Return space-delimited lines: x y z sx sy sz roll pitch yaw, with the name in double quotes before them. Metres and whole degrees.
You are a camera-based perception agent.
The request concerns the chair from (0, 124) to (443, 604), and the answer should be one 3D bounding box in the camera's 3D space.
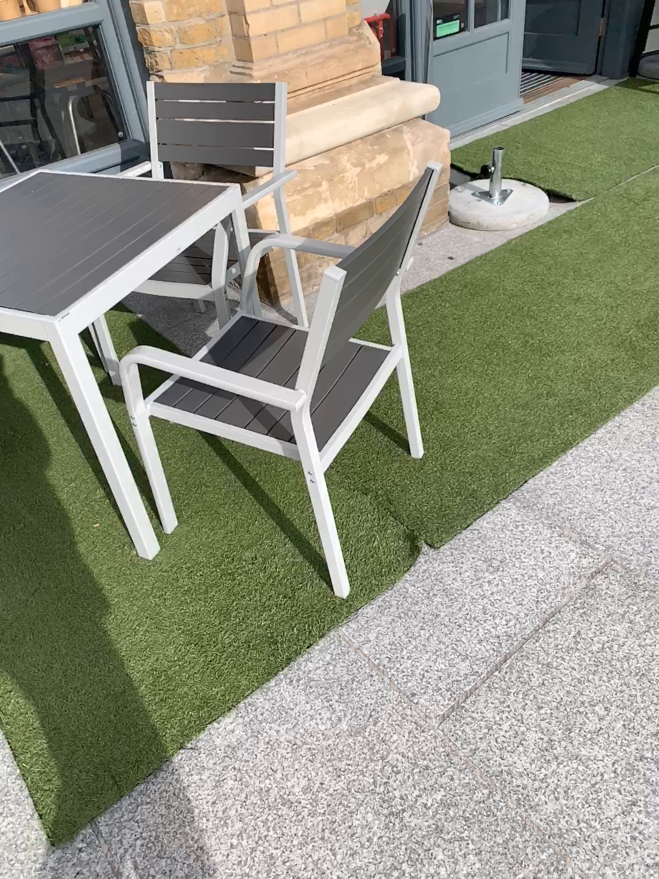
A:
"chair" -0.136 -0.210 1.579 0.647 0.801 0.686 10 43 20
